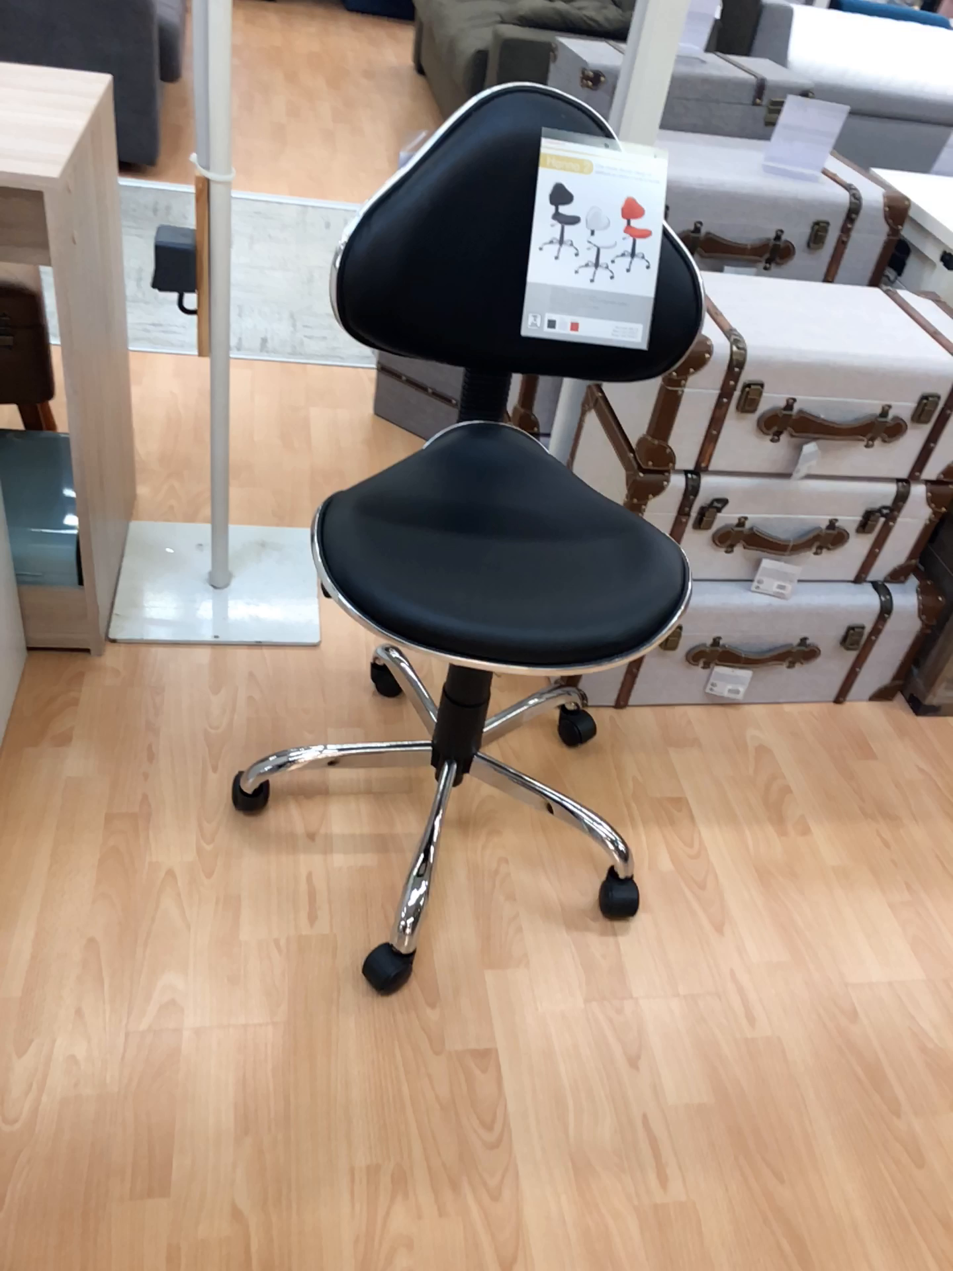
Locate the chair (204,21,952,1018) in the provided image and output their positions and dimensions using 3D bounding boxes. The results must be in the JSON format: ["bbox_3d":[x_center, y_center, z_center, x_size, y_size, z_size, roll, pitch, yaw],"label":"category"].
[{"bbox_3d":[0.013,-0.112,1.190,0.601,0.854,0.613,-2,40,-16],"label":"chair"}]
